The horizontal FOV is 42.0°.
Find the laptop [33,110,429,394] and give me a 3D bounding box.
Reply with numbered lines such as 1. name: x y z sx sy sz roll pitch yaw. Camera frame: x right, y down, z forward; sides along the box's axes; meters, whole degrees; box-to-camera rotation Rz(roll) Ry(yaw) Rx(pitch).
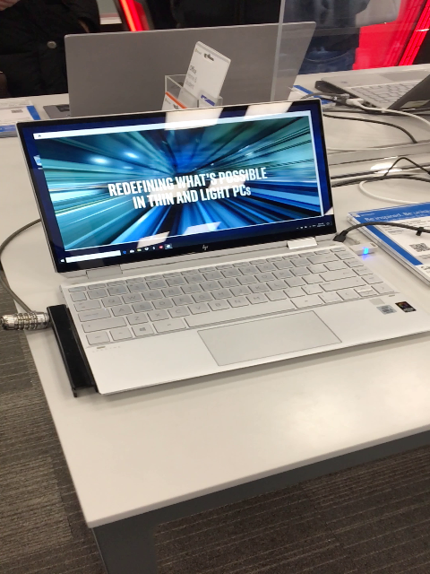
1. laptop: 0.020 -0.055 0.553 0.326 0.149 0.254 -11 38 -14
